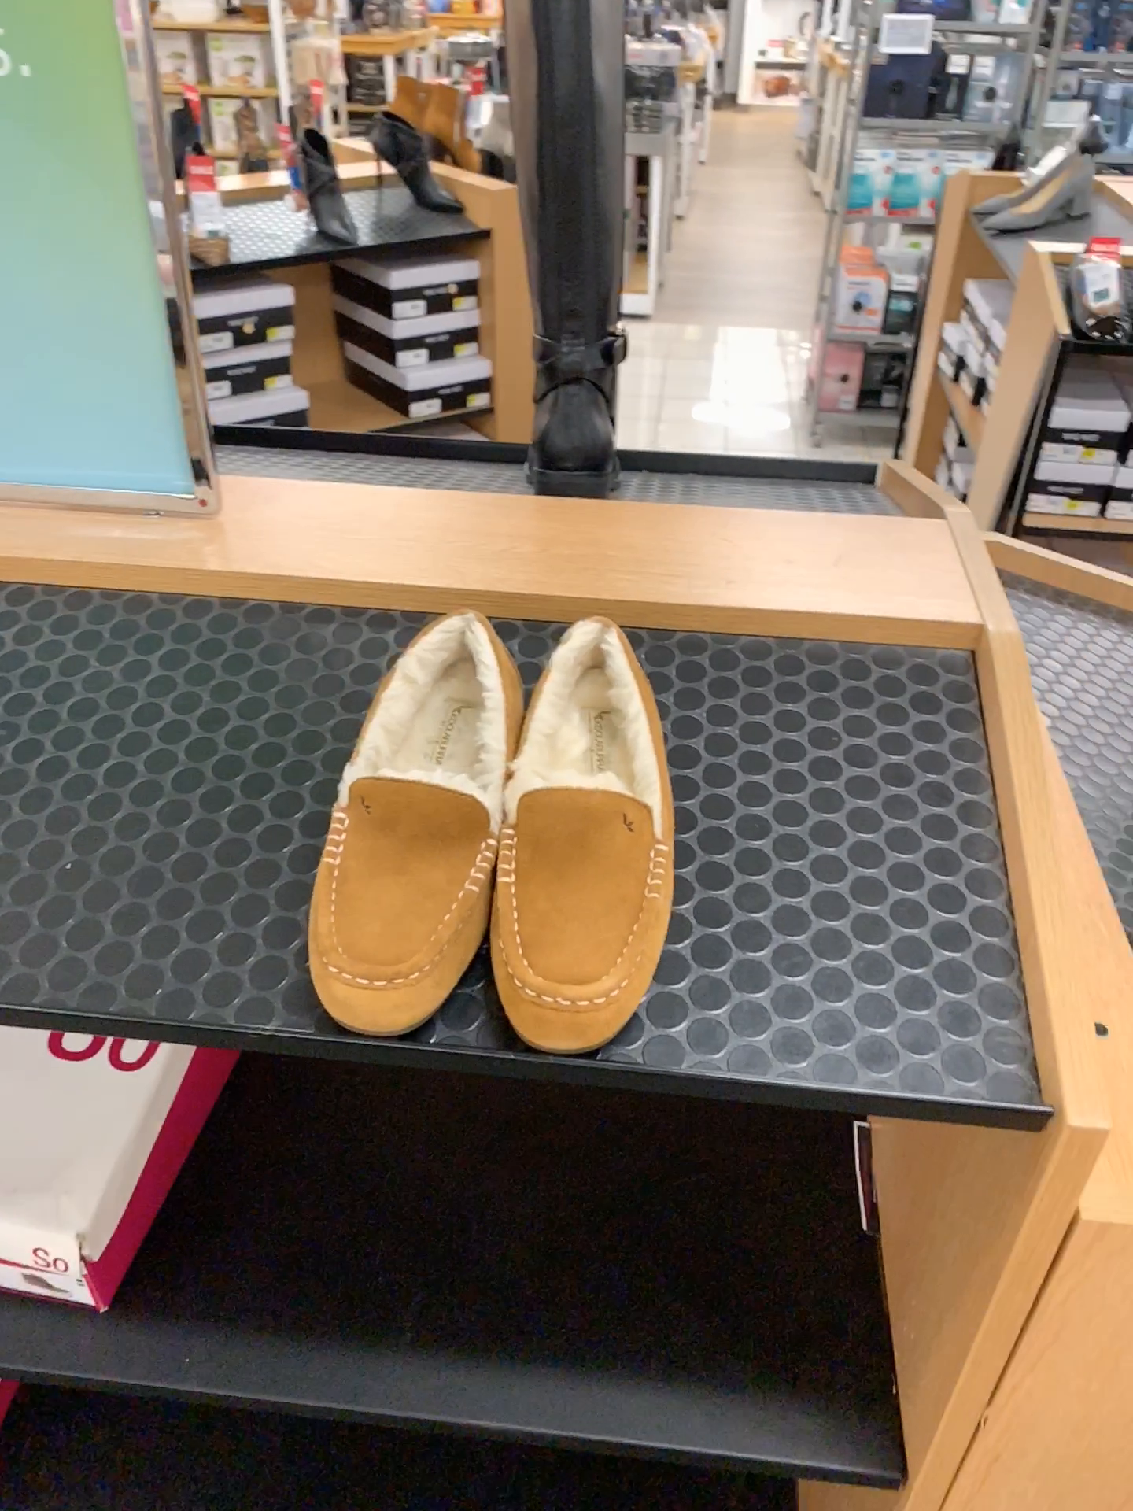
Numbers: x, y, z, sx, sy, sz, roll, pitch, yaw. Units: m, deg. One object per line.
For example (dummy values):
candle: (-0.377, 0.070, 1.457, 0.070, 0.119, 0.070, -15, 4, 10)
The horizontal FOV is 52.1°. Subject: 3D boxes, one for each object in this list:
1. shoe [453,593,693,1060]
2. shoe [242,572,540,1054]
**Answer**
shoe: (0.012, 0.023, 0.591, 0.090, 0.060, 0.251, 5, 47, 5)
shoe: (-0.077, 0.014, 0.604, 0.090, 0.060, 0.272, 5, 47, 5)
